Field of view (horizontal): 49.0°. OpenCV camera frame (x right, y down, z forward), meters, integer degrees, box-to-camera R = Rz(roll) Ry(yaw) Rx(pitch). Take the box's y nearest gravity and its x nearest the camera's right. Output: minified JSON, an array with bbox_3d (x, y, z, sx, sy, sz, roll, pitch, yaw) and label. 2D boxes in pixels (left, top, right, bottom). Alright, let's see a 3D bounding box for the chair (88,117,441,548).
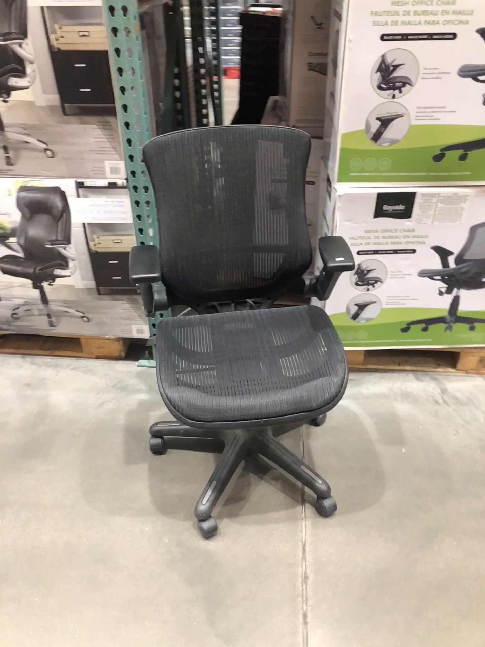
[{"bbox_3d":[0.012,0.006,1.499,0.634,0.936,0.702,-4,35,-5],"label":"chair"}]
